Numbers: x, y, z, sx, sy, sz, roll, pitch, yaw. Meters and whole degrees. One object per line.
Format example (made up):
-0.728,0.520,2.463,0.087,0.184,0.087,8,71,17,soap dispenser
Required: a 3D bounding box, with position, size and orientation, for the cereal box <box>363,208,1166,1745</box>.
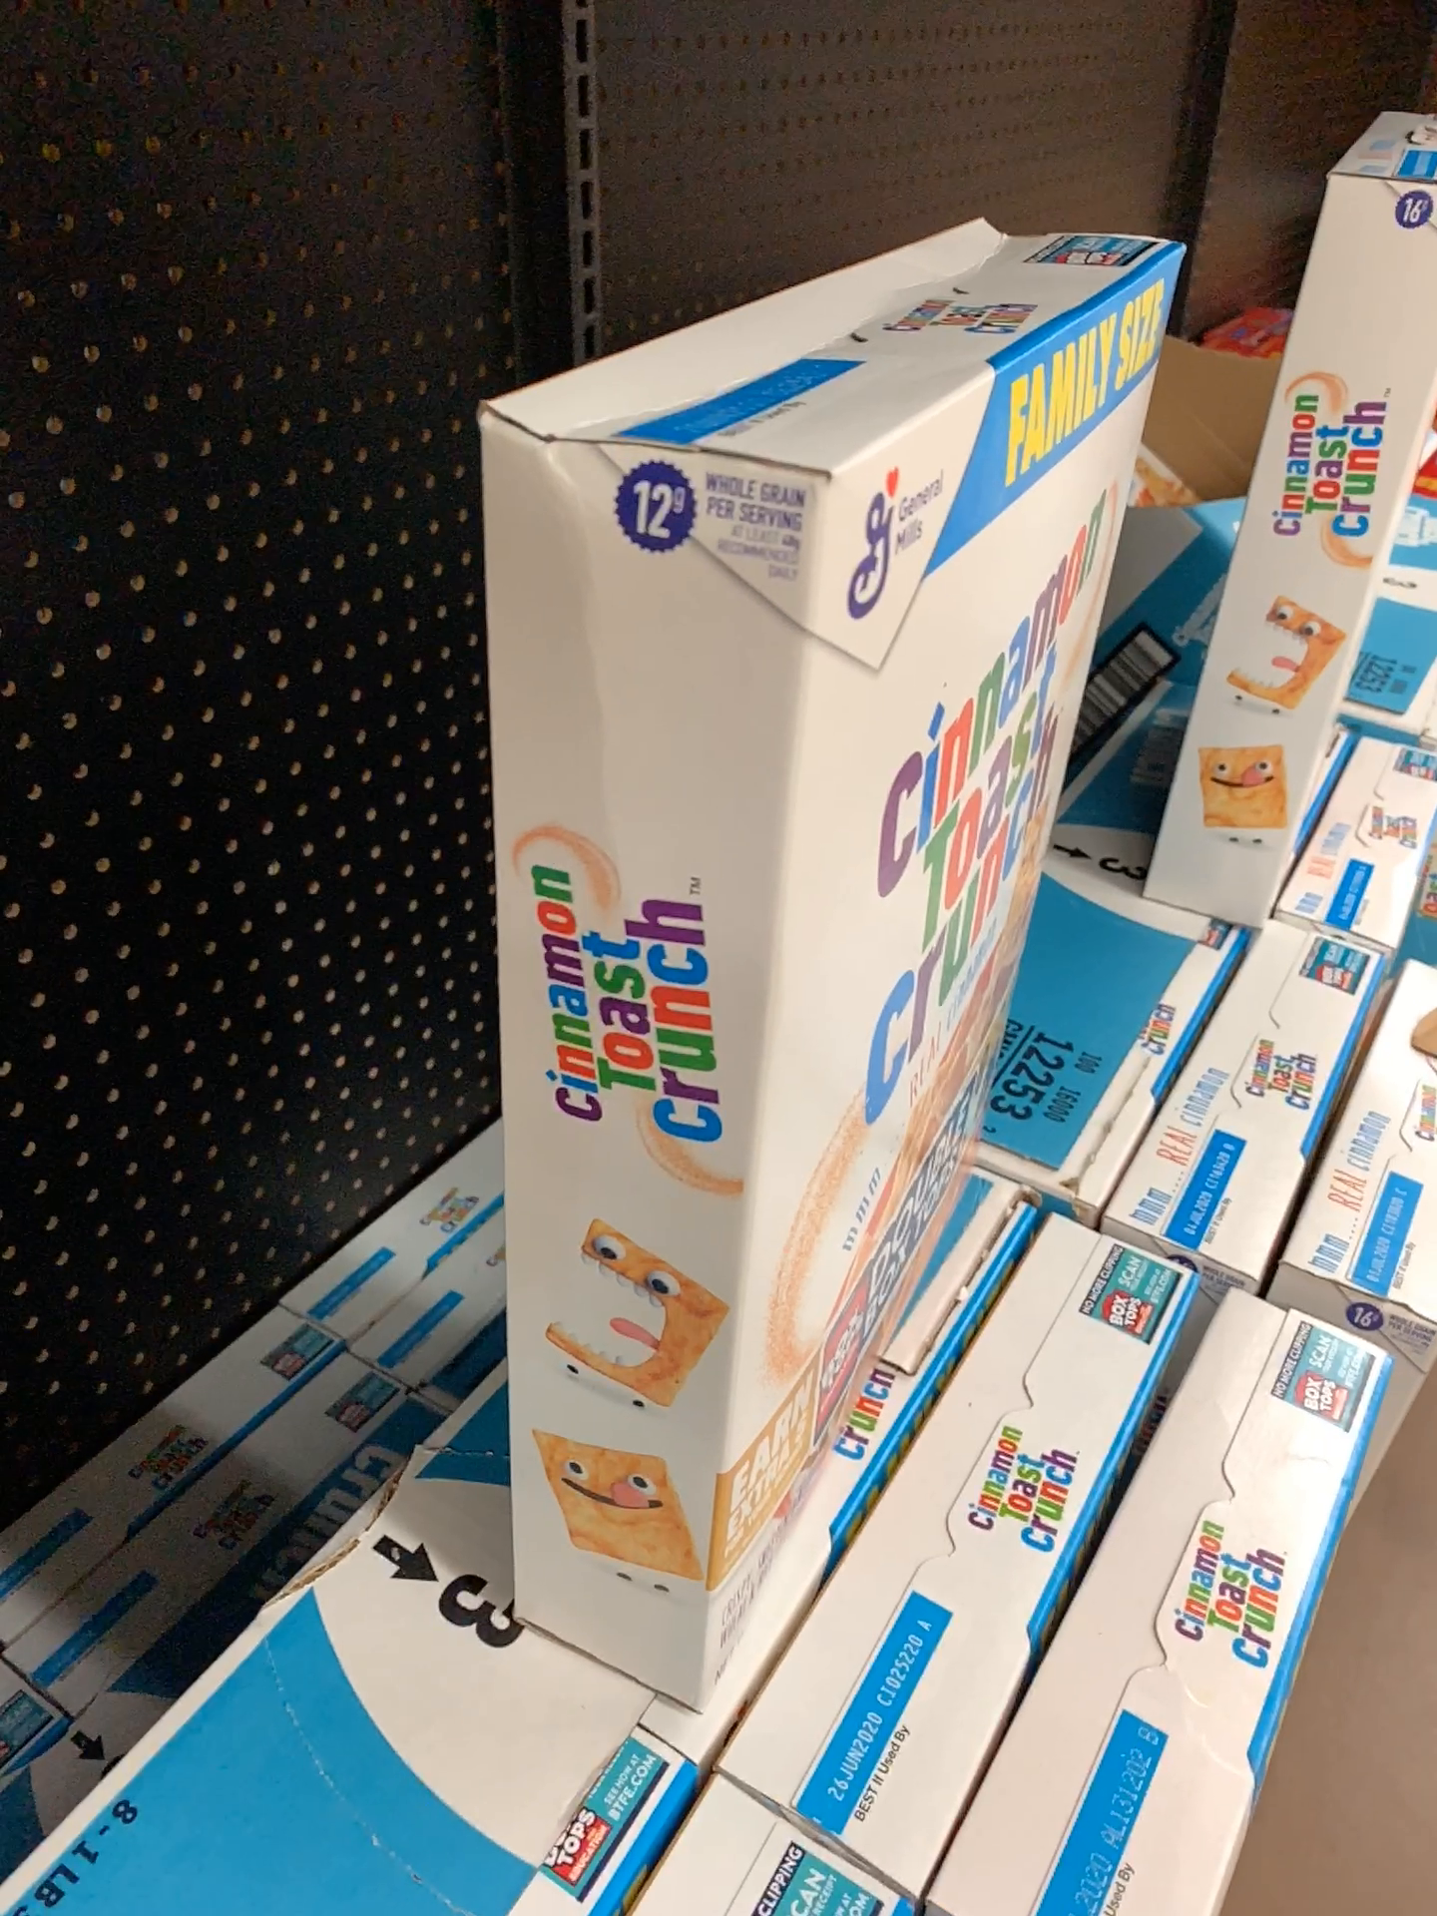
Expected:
0.025,-0.005,0.369,0.060,0.298,0.241,17,37,20,cereal box
